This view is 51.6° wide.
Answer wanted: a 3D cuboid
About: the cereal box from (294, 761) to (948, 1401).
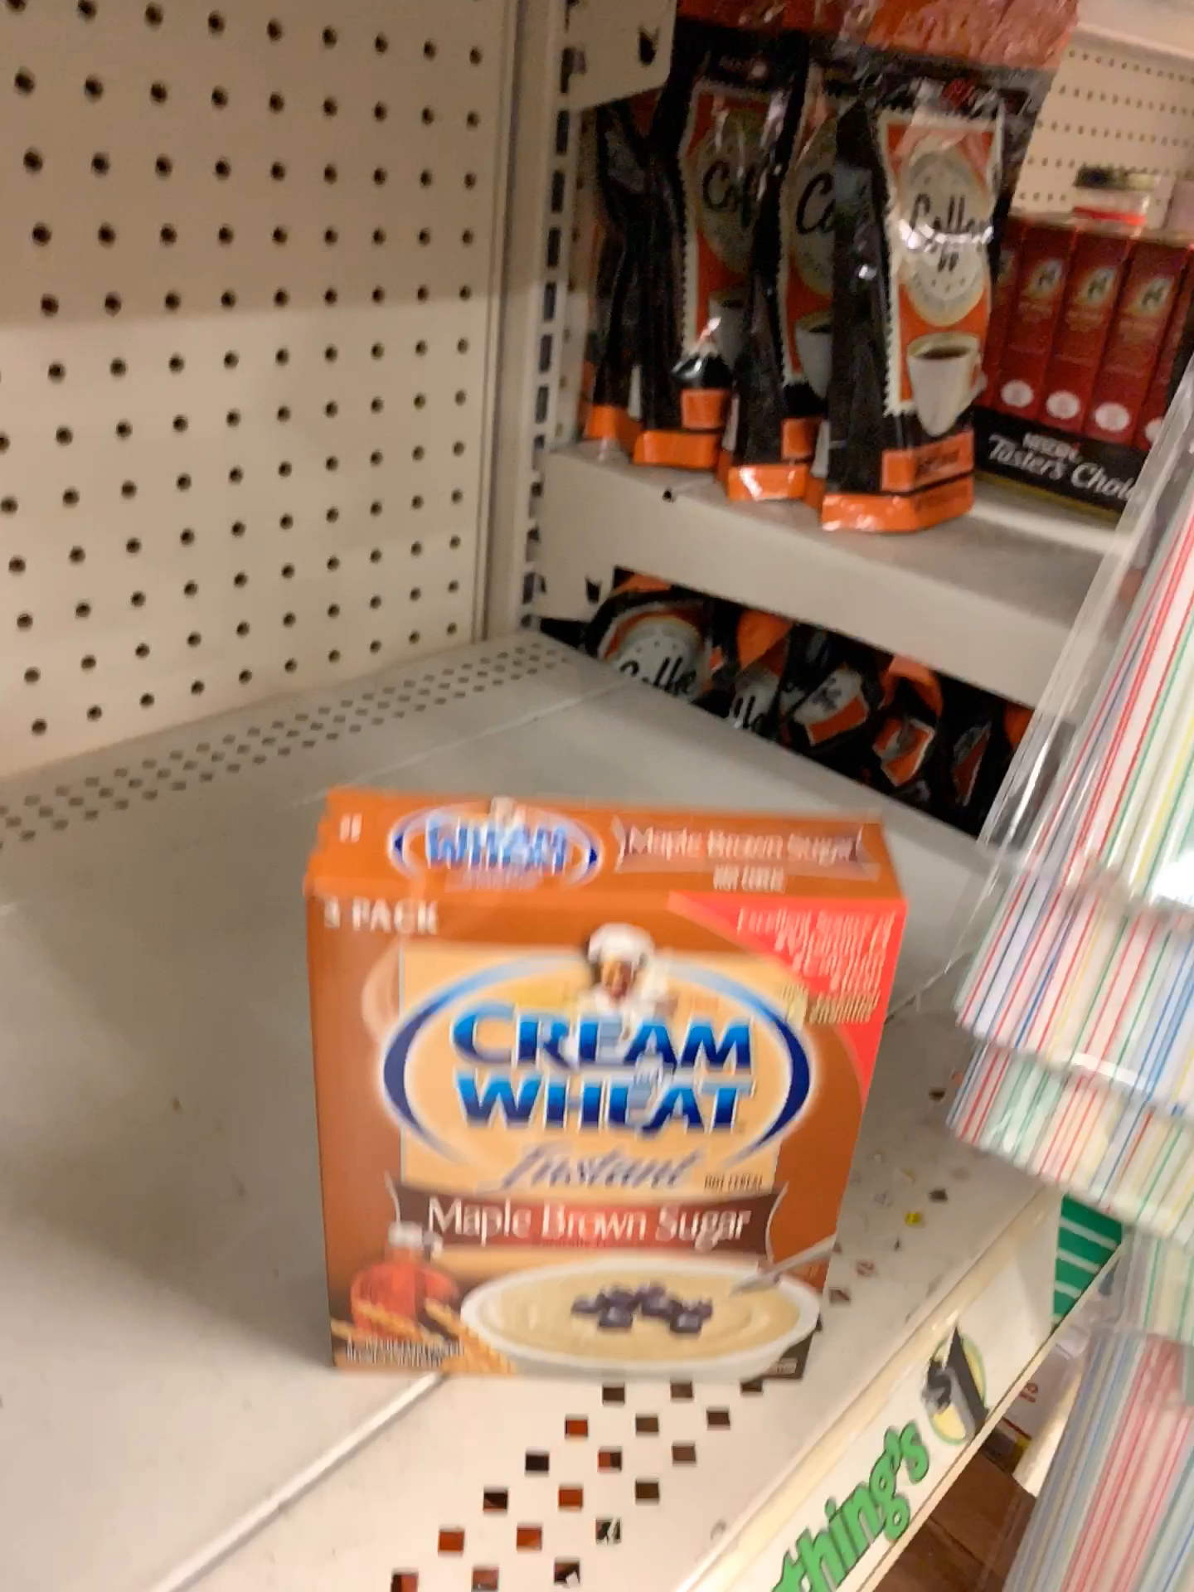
[{"bbox_3d":[-0.002,0.071,0.279,0.120,0.149,0.040,3,30,-5],"label":"cereal box"}]
